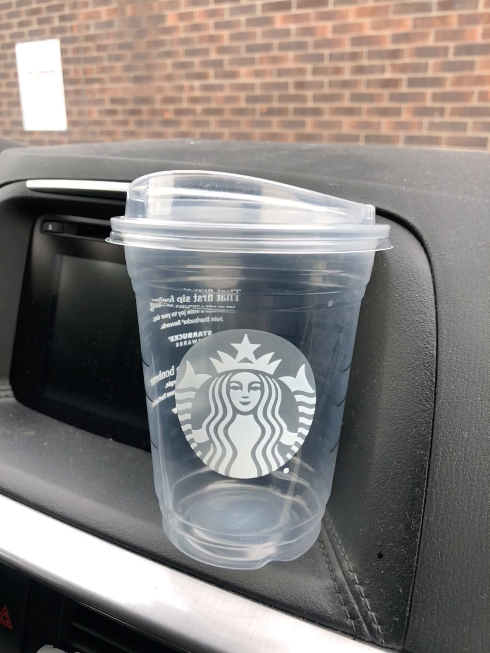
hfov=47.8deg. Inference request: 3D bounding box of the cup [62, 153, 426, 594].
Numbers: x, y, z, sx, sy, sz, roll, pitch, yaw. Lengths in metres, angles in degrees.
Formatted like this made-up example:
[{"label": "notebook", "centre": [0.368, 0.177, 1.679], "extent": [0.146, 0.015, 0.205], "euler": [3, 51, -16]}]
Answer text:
[{"label": "cup", "centre": [0.001, 0.007, 0.191], "extent": [0.088, 0.125, 0.082], "euler": [1, 18, 0]}]
